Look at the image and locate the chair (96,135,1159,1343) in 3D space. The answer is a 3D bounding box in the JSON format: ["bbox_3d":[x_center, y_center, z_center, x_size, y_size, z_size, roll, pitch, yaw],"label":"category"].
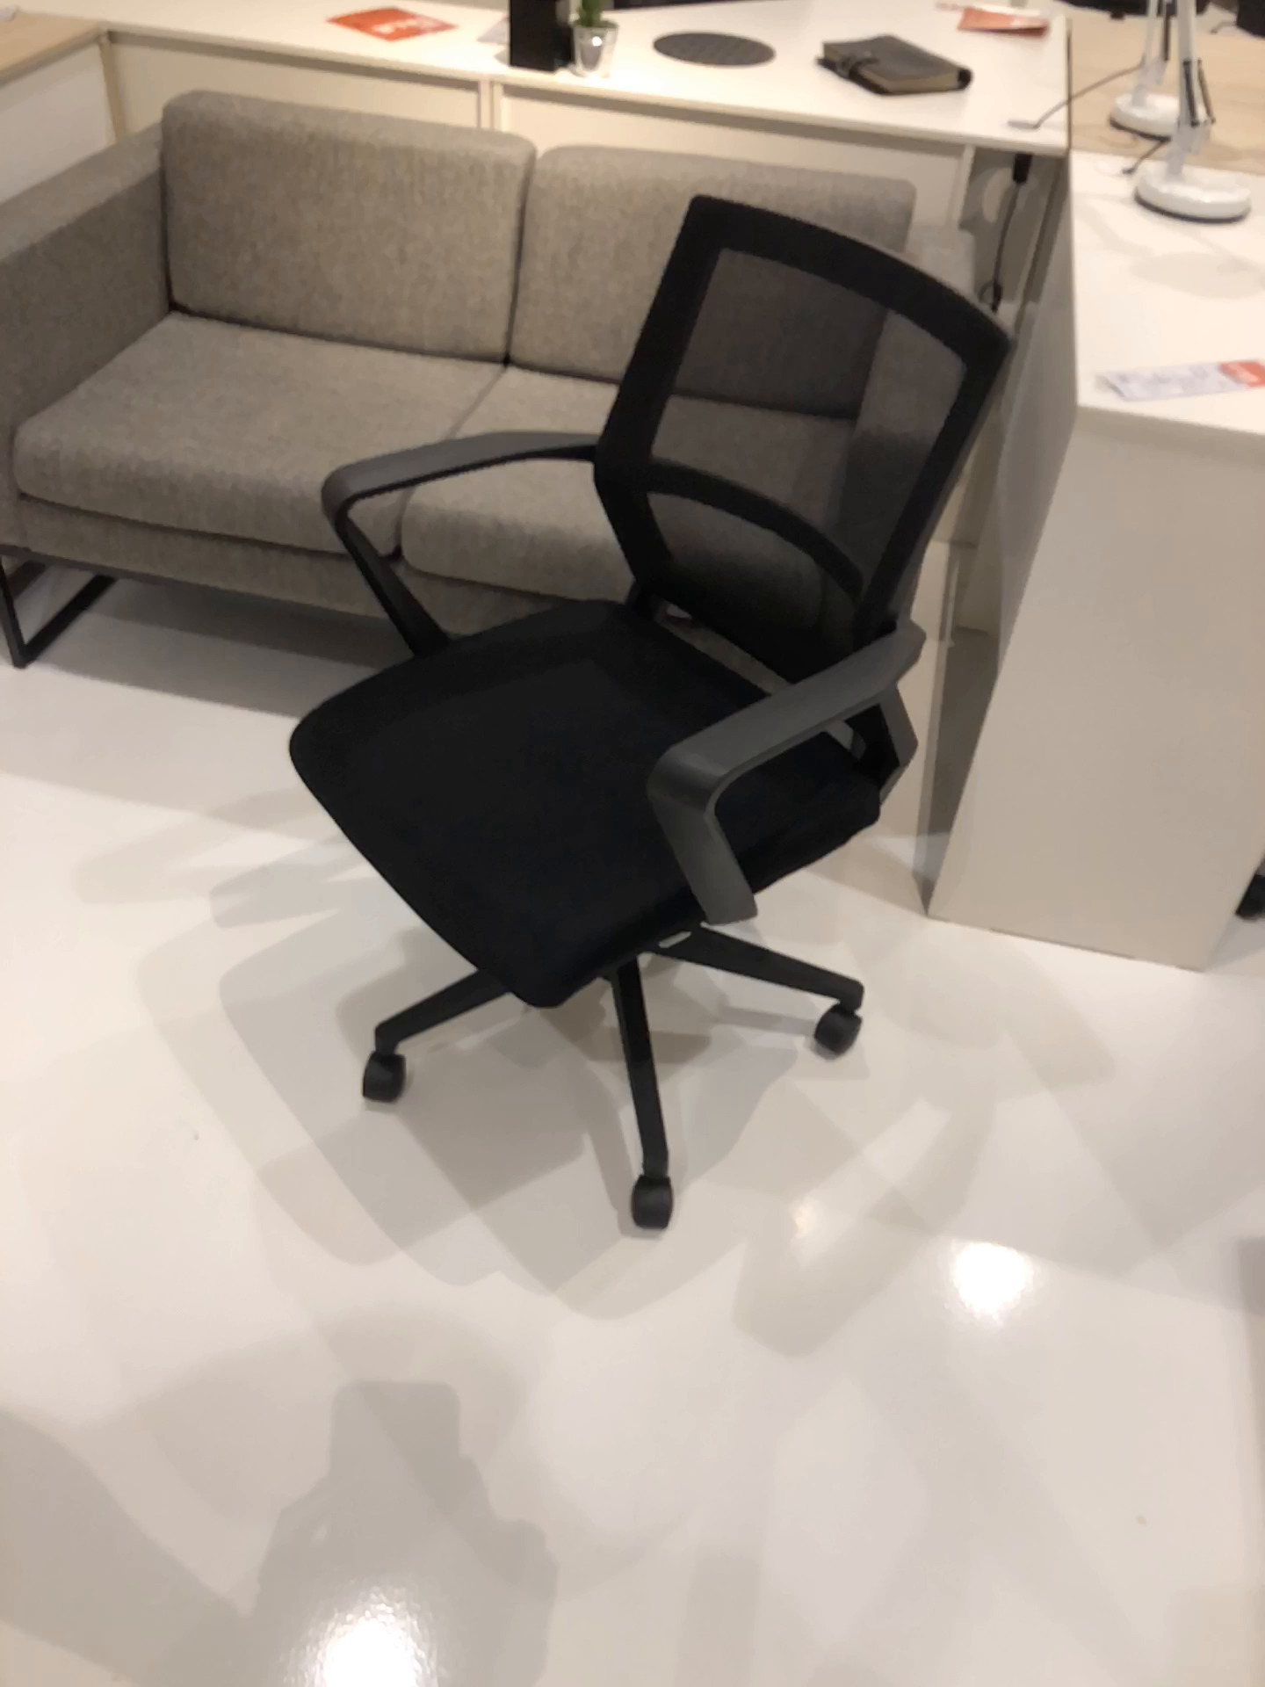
[{"bbox_3d":[-0.043,-0.129,1.517,0.632,0.933,0.683,-27,51,-30],"label":"chair"}]
